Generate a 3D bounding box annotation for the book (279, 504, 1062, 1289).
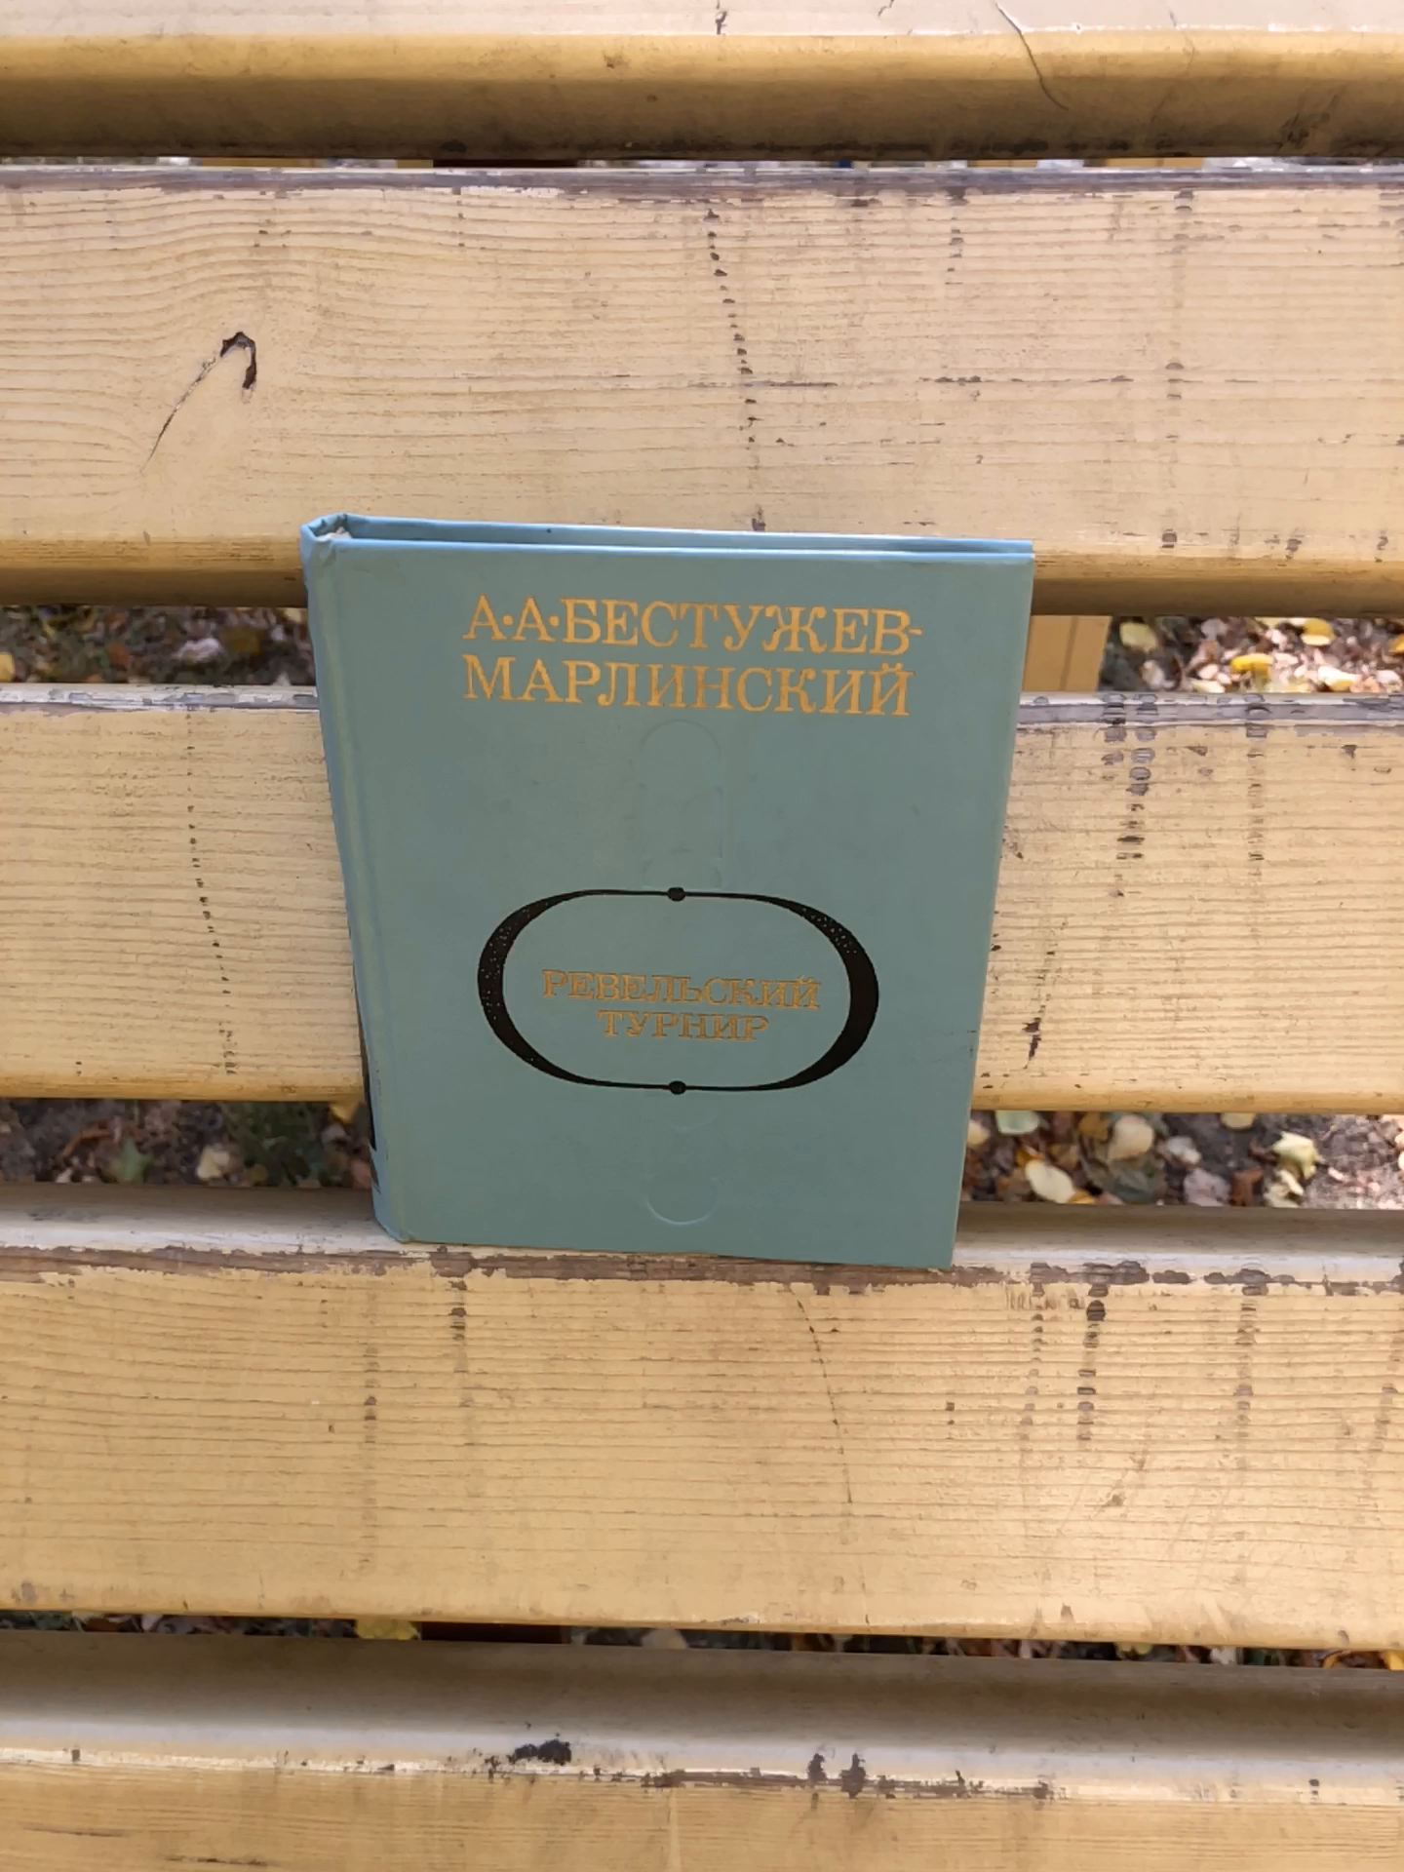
[{"bbox_3d":[-0.005,-0.002,0.327,0.140,0.169,0.022,3,31,7],"label":"book"}]
